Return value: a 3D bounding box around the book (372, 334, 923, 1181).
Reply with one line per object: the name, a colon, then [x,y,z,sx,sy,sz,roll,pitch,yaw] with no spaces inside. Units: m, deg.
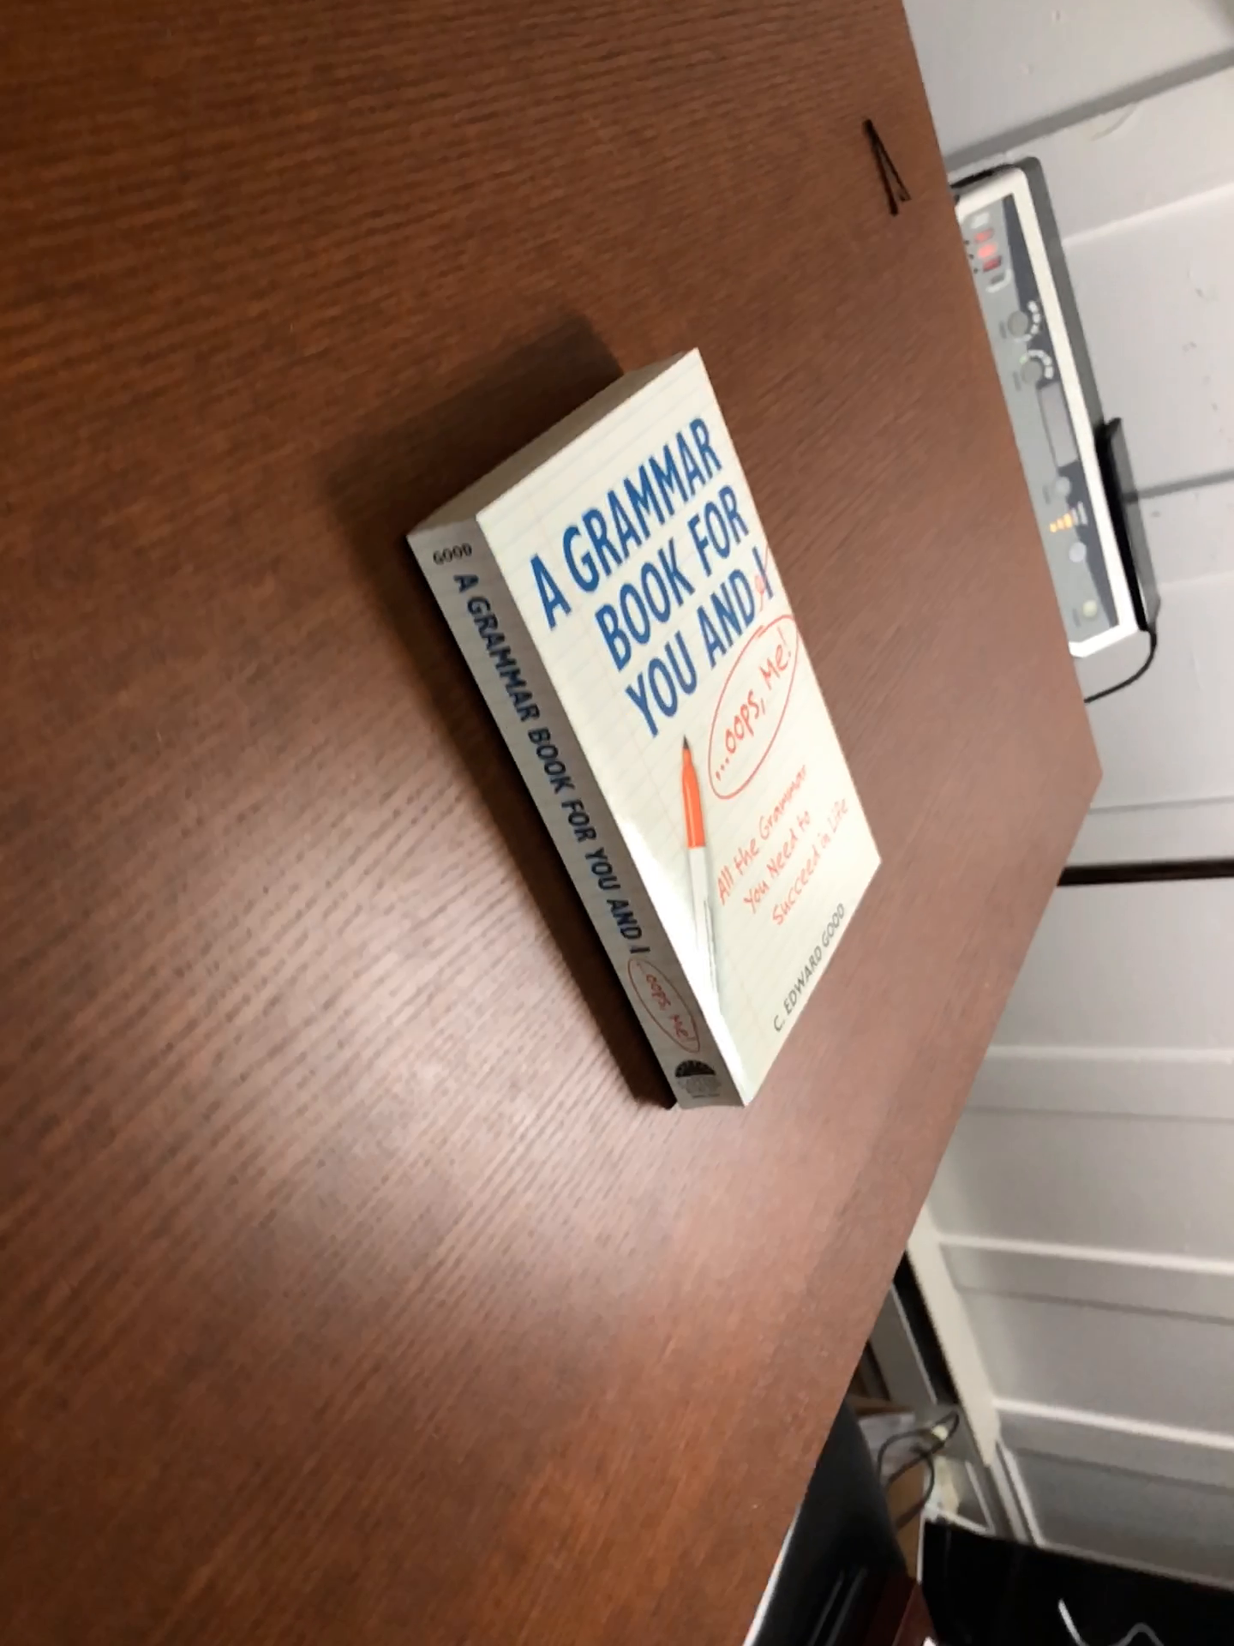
book: [0.031,-0.025,0.482,0.171,0.040,0.240,-50,125,-45]
